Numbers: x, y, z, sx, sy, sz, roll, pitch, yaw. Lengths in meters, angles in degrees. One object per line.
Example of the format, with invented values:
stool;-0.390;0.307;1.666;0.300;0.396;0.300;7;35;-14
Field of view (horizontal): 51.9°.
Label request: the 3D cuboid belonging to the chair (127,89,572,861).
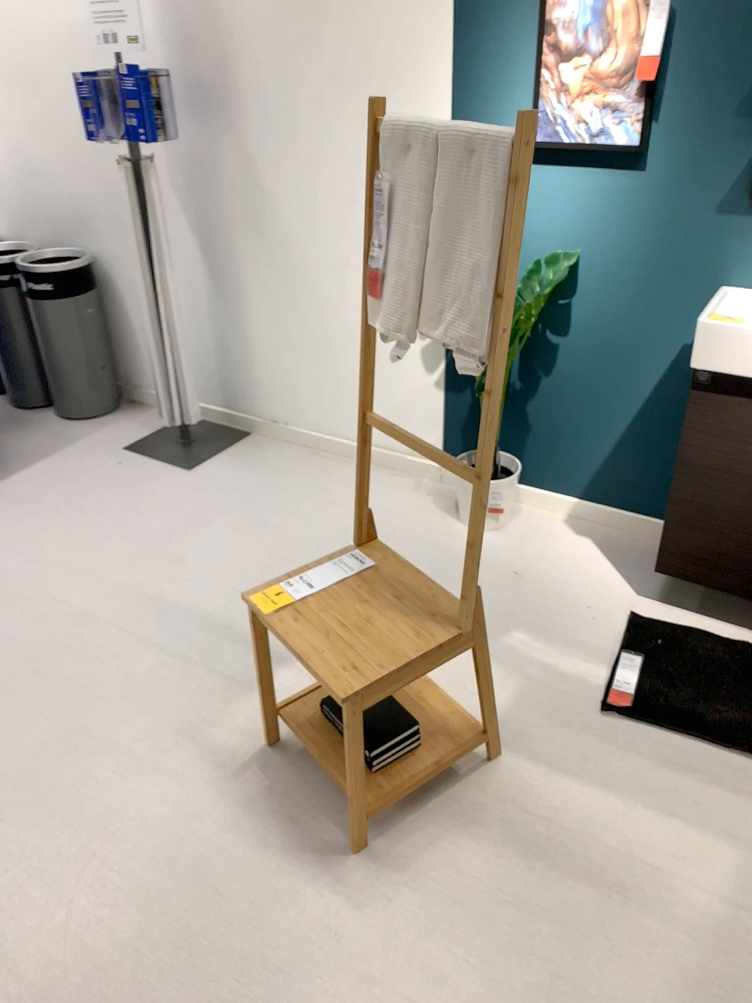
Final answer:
chair;-0.034;-0.022;1.455;0.471;1.294;0.462;-21;36;-29
